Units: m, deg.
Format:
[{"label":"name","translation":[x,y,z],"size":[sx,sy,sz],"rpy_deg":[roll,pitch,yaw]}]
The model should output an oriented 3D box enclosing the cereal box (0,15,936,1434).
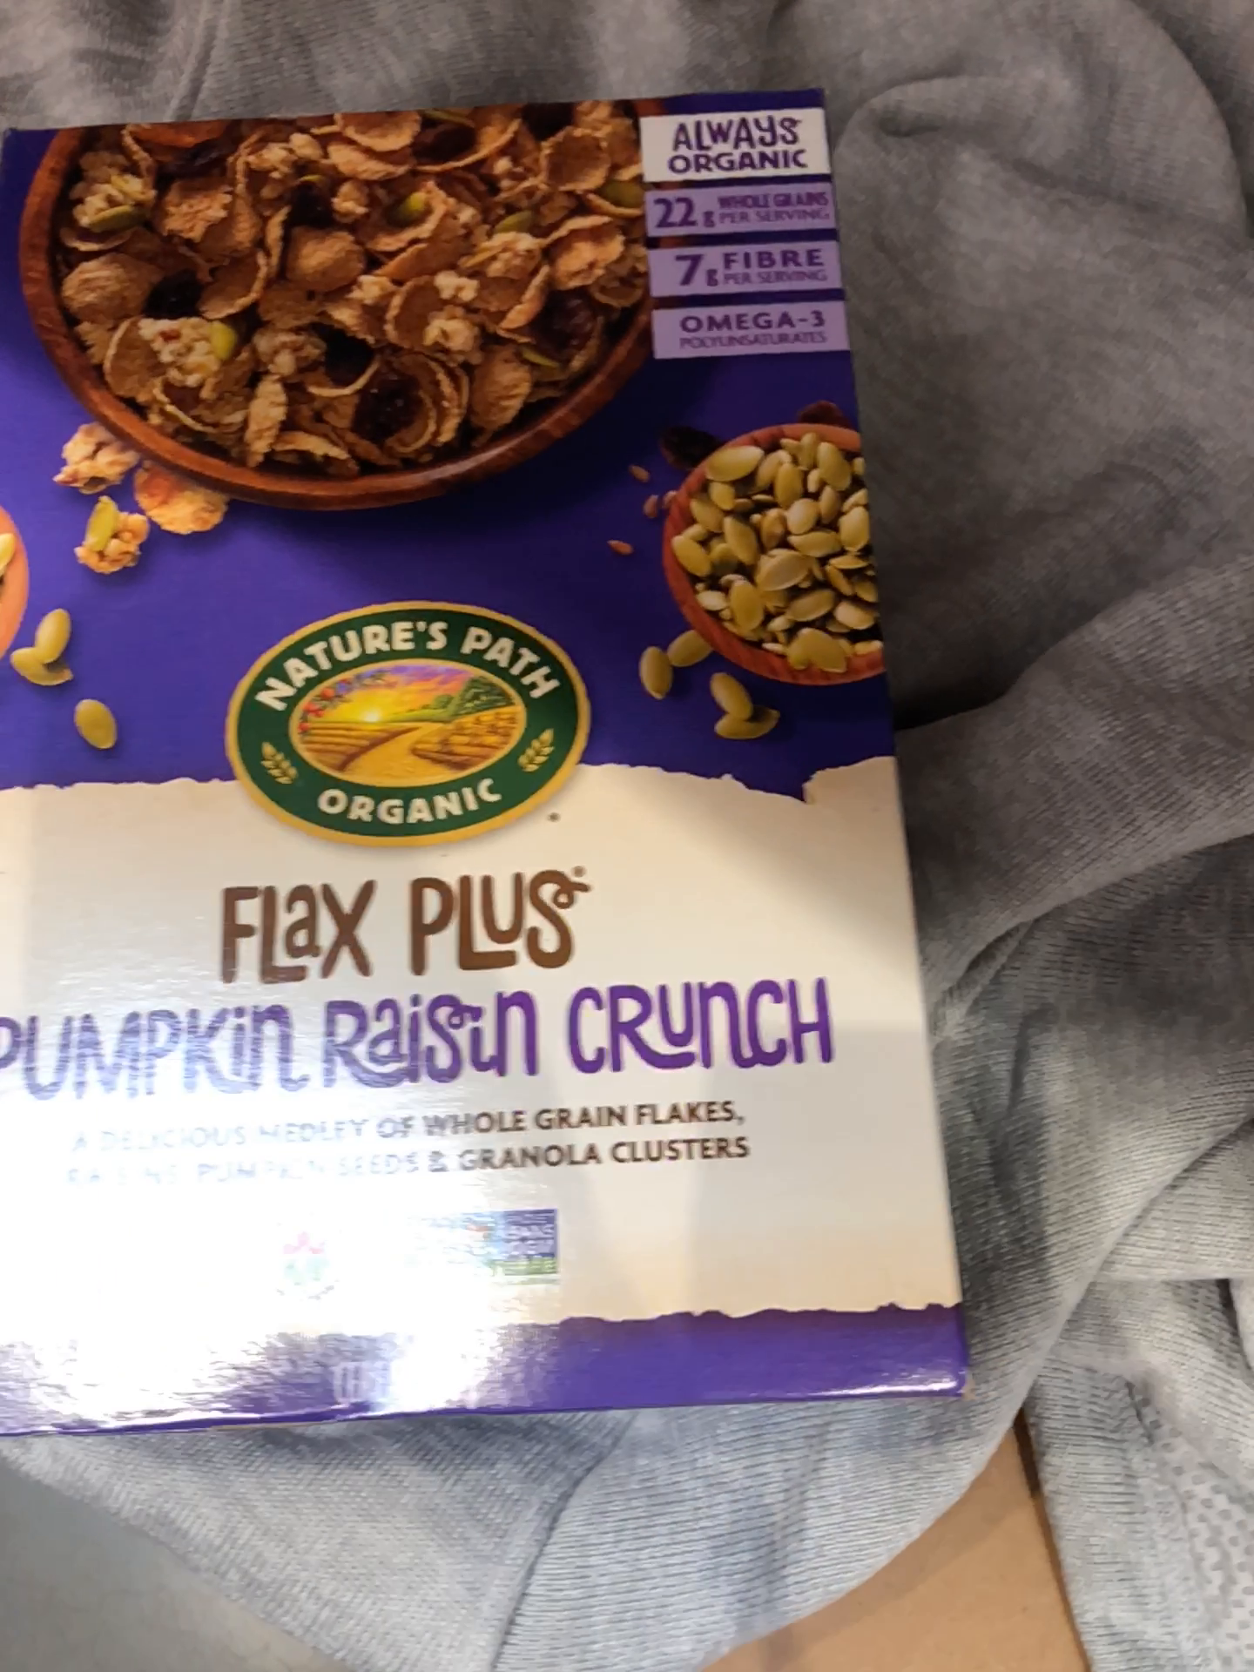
[{"label":"cereal box","translation":[-0.057,-0.034,0.334],"size":[0.210,0.090,0.310],"rpy_deg":[-2,72,0]}]
